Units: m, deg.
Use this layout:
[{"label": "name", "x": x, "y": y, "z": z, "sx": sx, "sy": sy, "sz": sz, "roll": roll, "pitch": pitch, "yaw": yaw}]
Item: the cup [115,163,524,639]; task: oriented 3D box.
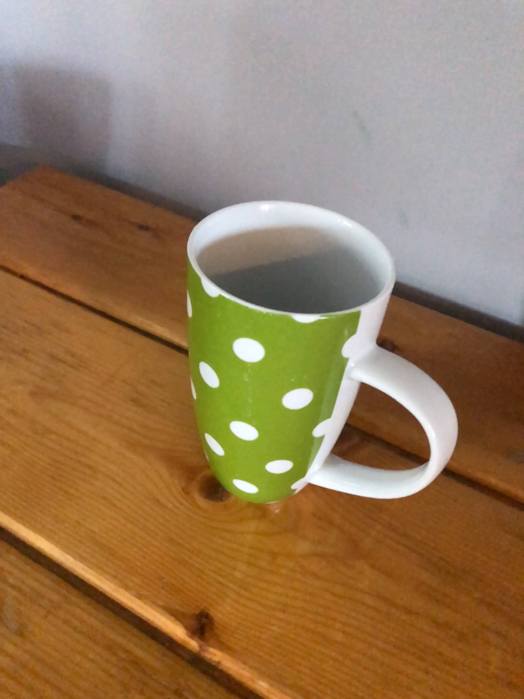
[{"label": "cup", "x": 0.027, "y": 0.021, "z": 0.282, "sx": 0.150, "sy": 0.150, "sz": 0.100, "roll": 30, "pitch": 49, "yaw": 24}]
